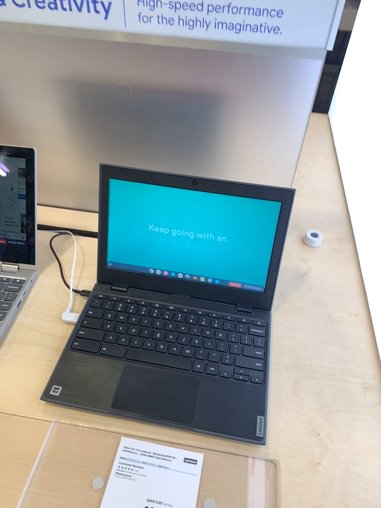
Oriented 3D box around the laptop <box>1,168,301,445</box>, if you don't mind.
[{"bbox_3d":[-0.018,0.048,0.500,0.275,0.171,0.267,9,44,7],"label":"laptop"}]
